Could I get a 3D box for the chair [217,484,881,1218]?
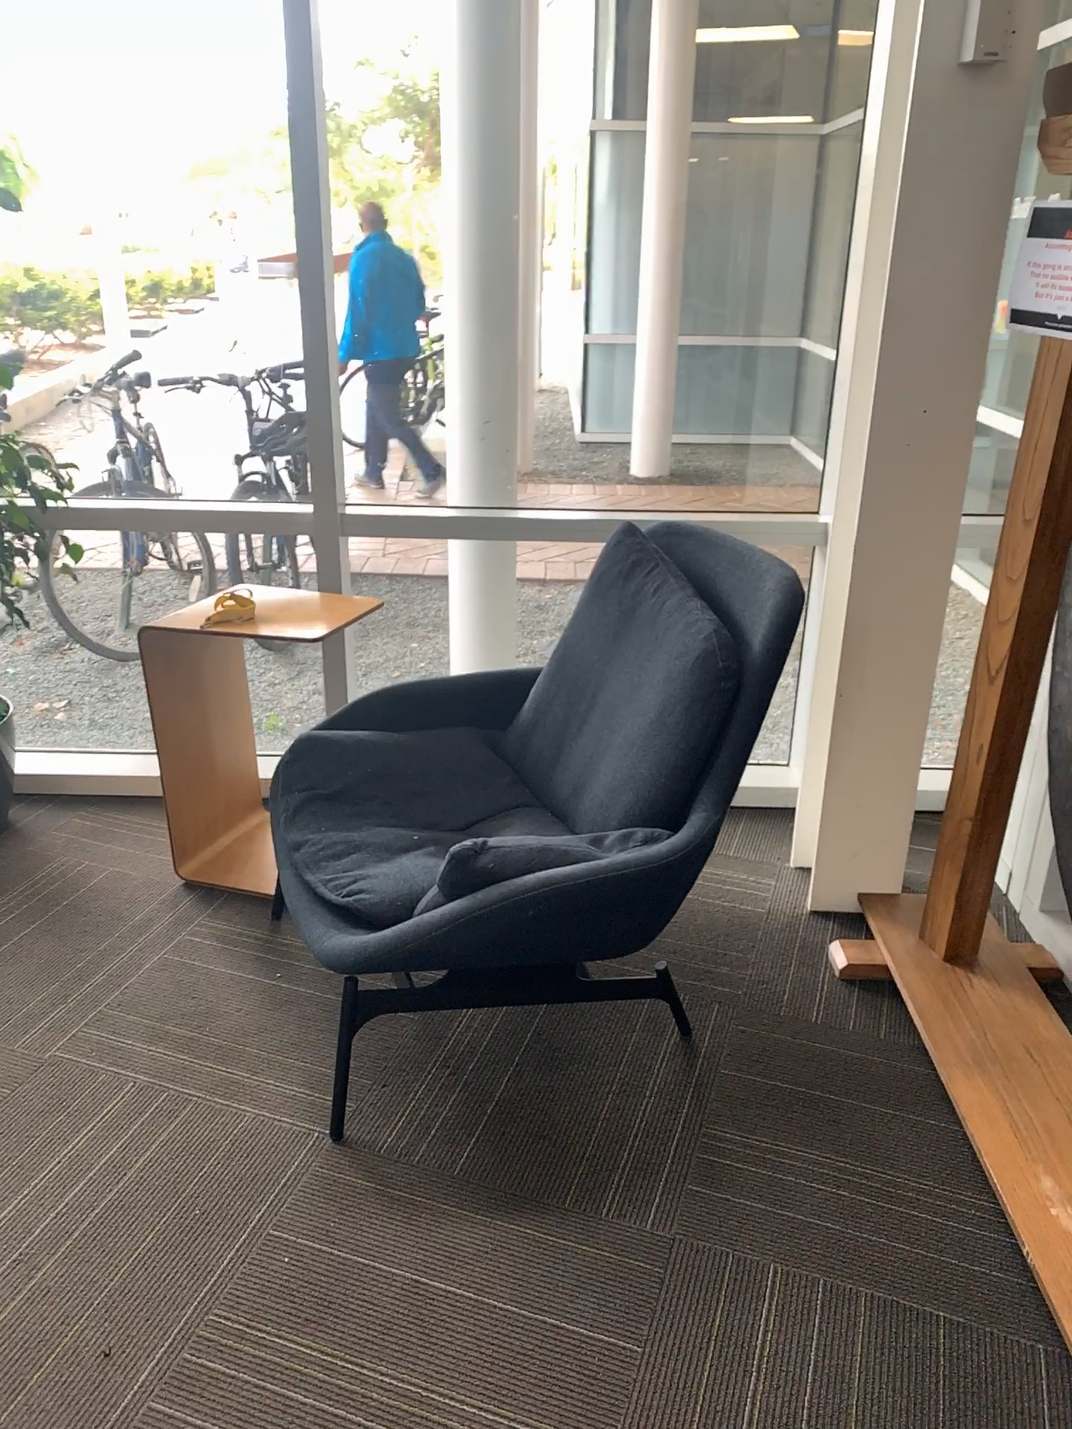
[{"bbox_3d":[-0.054,0.151,2.179,0.940,0.995,0.905,-8,24,-20],"label":"chair"}]
